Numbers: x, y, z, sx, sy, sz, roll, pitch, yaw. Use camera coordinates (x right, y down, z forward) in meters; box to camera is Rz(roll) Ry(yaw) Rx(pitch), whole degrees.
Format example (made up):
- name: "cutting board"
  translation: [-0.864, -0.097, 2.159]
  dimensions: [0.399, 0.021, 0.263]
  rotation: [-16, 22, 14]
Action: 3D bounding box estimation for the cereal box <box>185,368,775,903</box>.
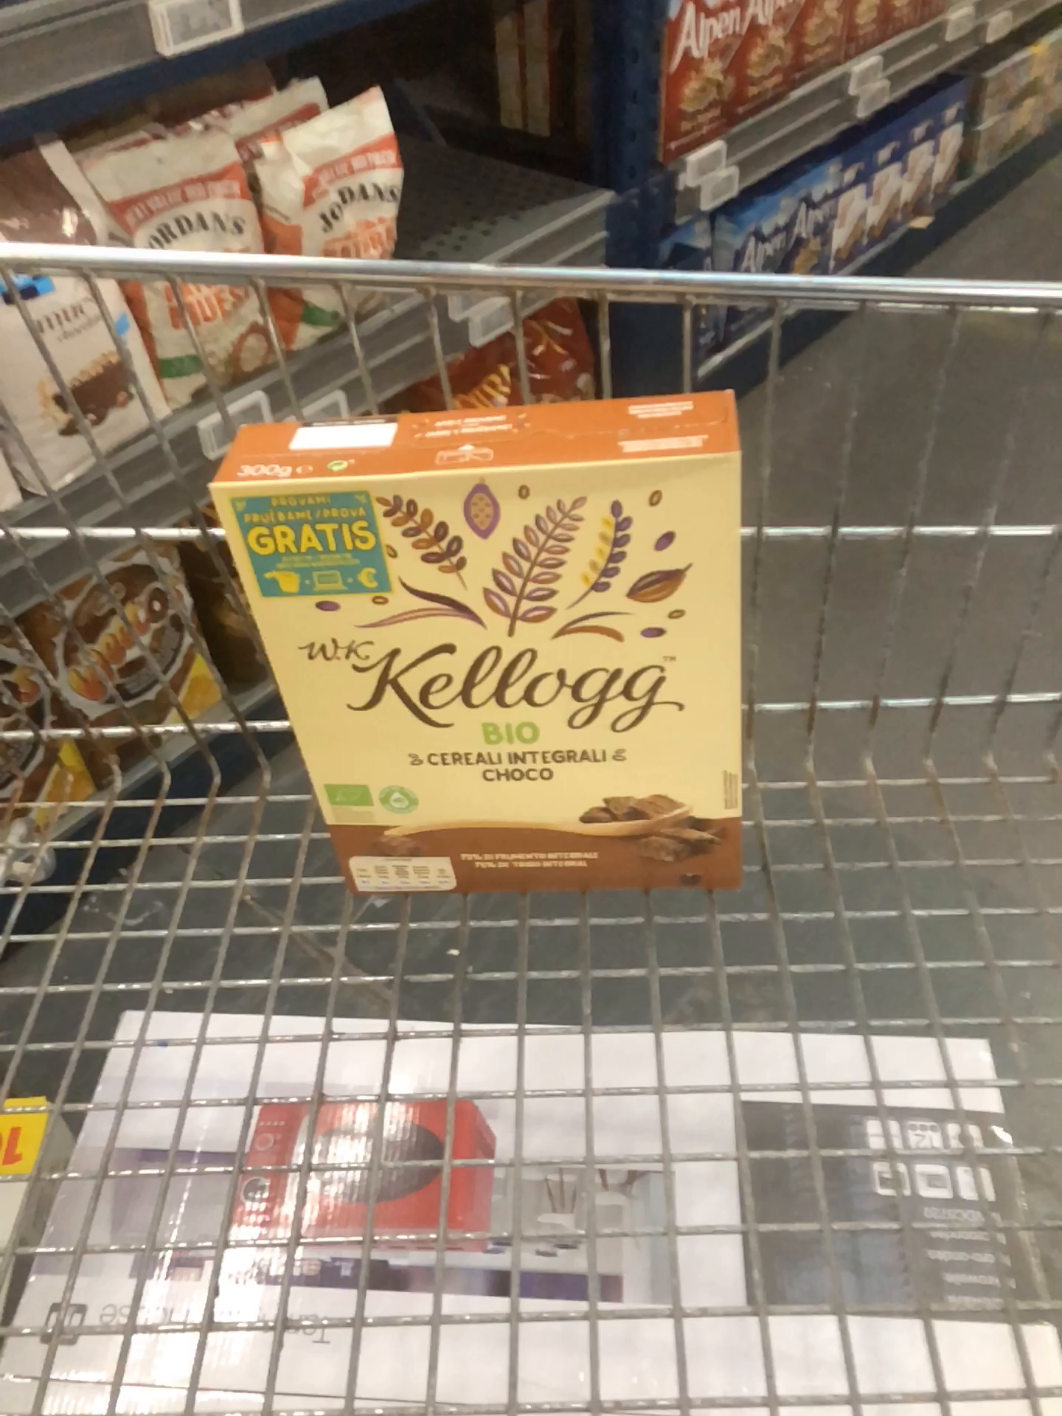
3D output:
- name: "cereal box"
  translation: [-0.005, -0.016, 0.484]
  dimensions: [0.200, 0.219, 0.060]
  rotation: [-3, 41, 7]
